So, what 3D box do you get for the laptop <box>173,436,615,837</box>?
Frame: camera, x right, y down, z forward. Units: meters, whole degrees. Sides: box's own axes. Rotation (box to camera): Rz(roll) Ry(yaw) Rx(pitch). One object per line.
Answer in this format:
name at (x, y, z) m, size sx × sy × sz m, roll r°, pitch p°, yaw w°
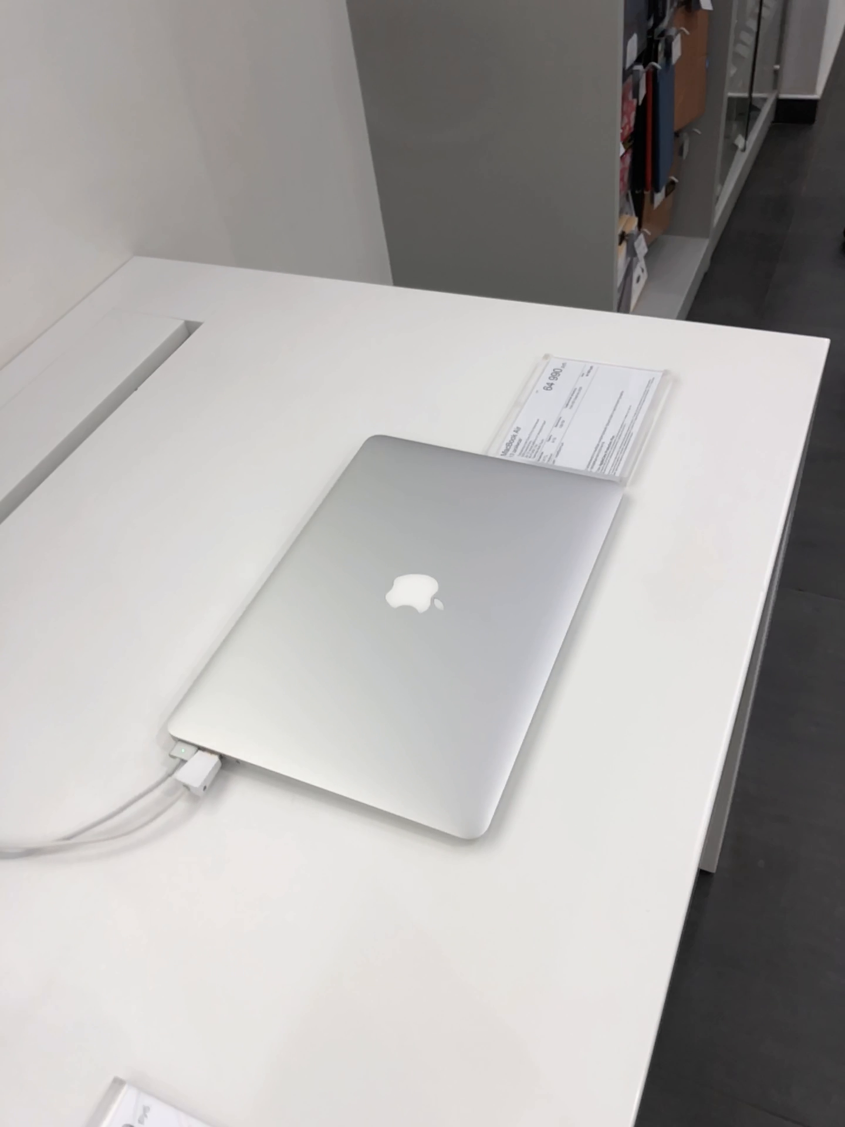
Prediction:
laptop at (-0.006, 0.026, 0.668) m, size 0.209 × 0.008 × 0.308 m, roll 14°, pitch 50°, yaw 20°
